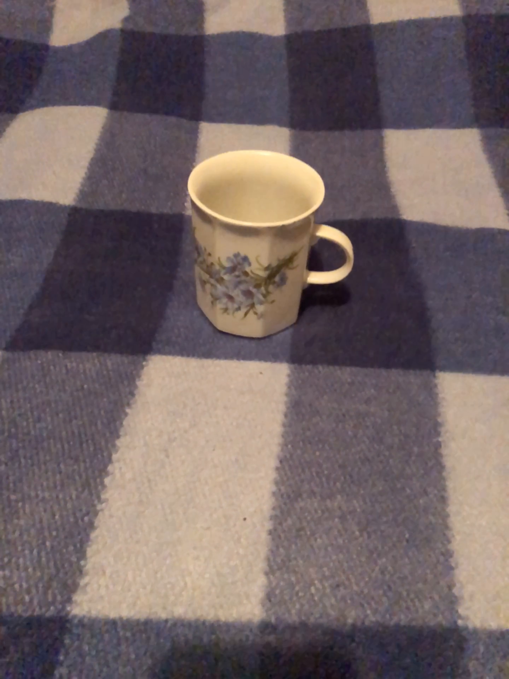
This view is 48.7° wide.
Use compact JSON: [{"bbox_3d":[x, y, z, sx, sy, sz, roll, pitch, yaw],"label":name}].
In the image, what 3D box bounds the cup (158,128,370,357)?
[{"bbox_3d":[0.008,-0.059,0.342,0.098,0.094,0.077,13,50,11],"label":"cup"}]
